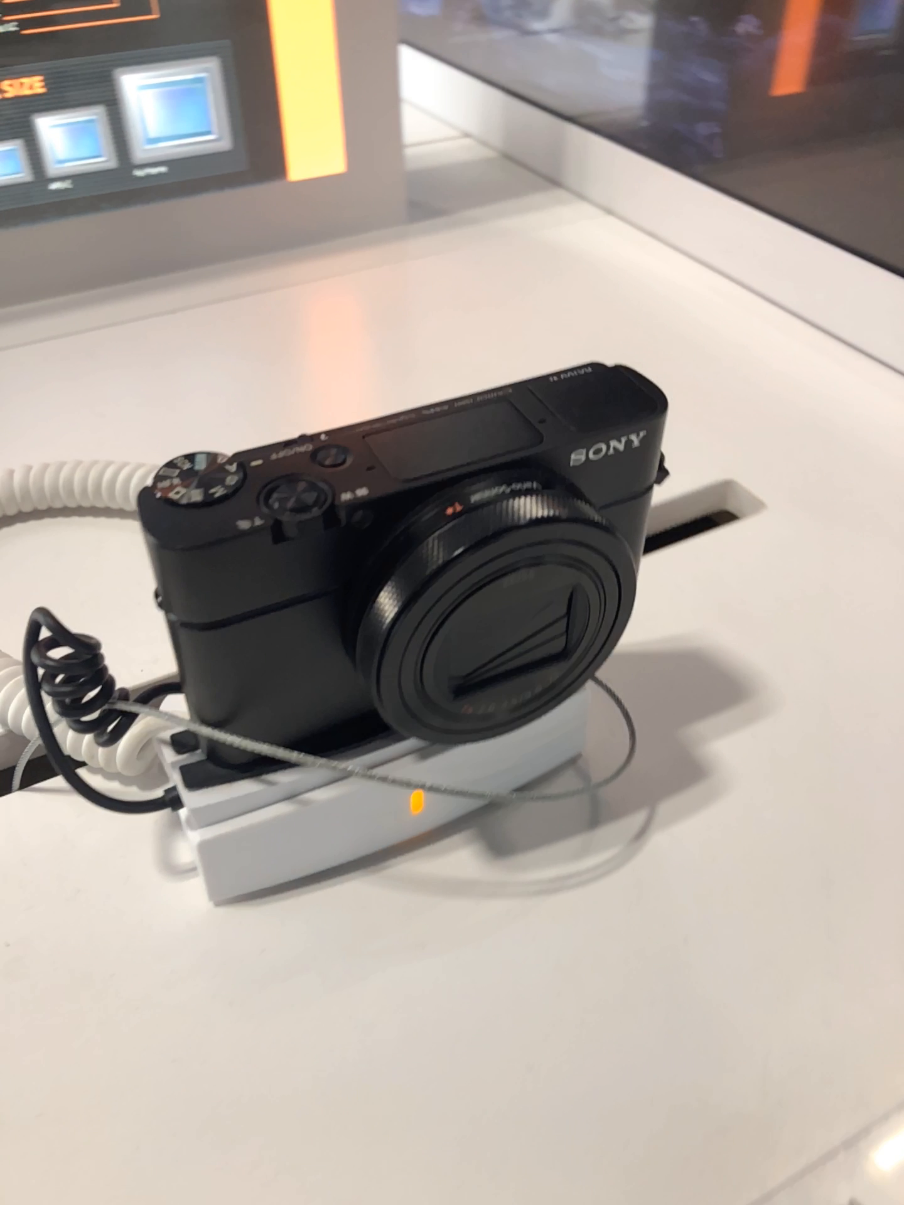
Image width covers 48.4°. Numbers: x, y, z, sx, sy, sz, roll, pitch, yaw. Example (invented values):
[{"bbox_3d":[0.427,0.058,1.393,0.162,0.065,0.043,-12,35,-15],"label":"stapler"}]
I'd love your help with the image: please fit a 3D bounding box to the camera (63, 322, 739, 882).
[{"bbox_3d":[-0.007,-0.003,0.196,0.110,0.070,0.040,-19,43,-20],"label":"camera"}]
